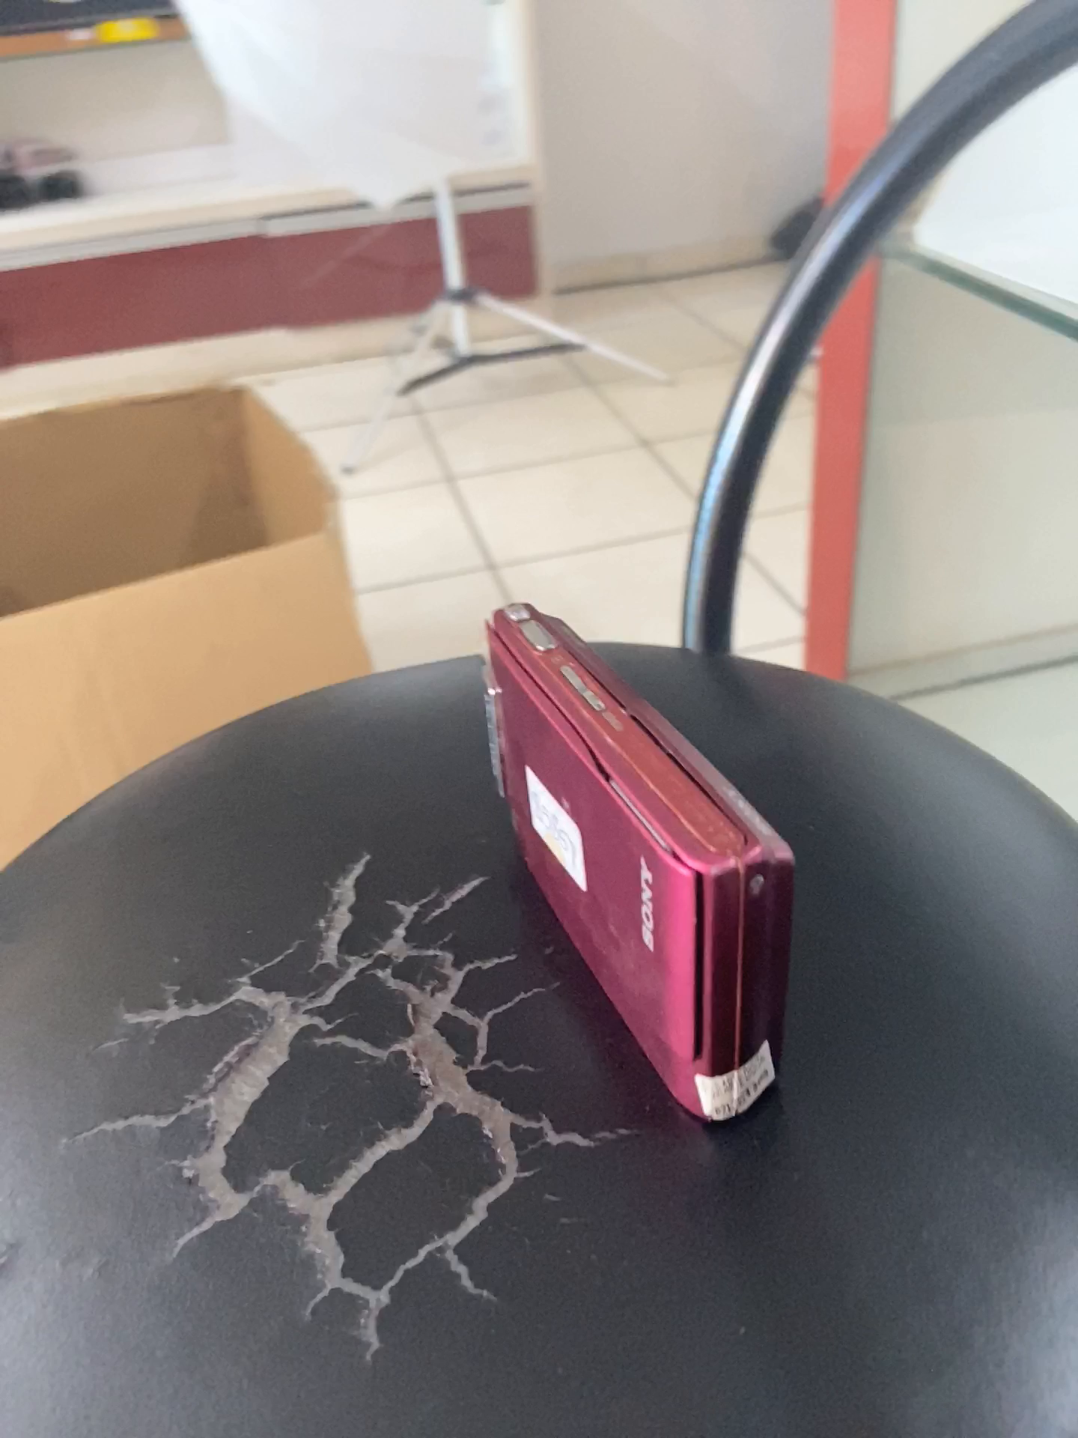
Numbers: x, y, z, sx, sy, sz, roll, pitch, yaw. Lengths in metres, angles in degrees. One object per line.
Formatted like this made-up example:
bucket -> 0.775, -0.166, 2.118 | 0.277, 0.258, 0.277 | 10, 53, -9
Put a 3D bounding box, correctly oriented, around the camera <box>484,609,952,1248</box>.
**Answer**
camera -> 0.026, 0.031, 0.205 | 0.030, 0.060, 0.100 | -18, 36, -17
